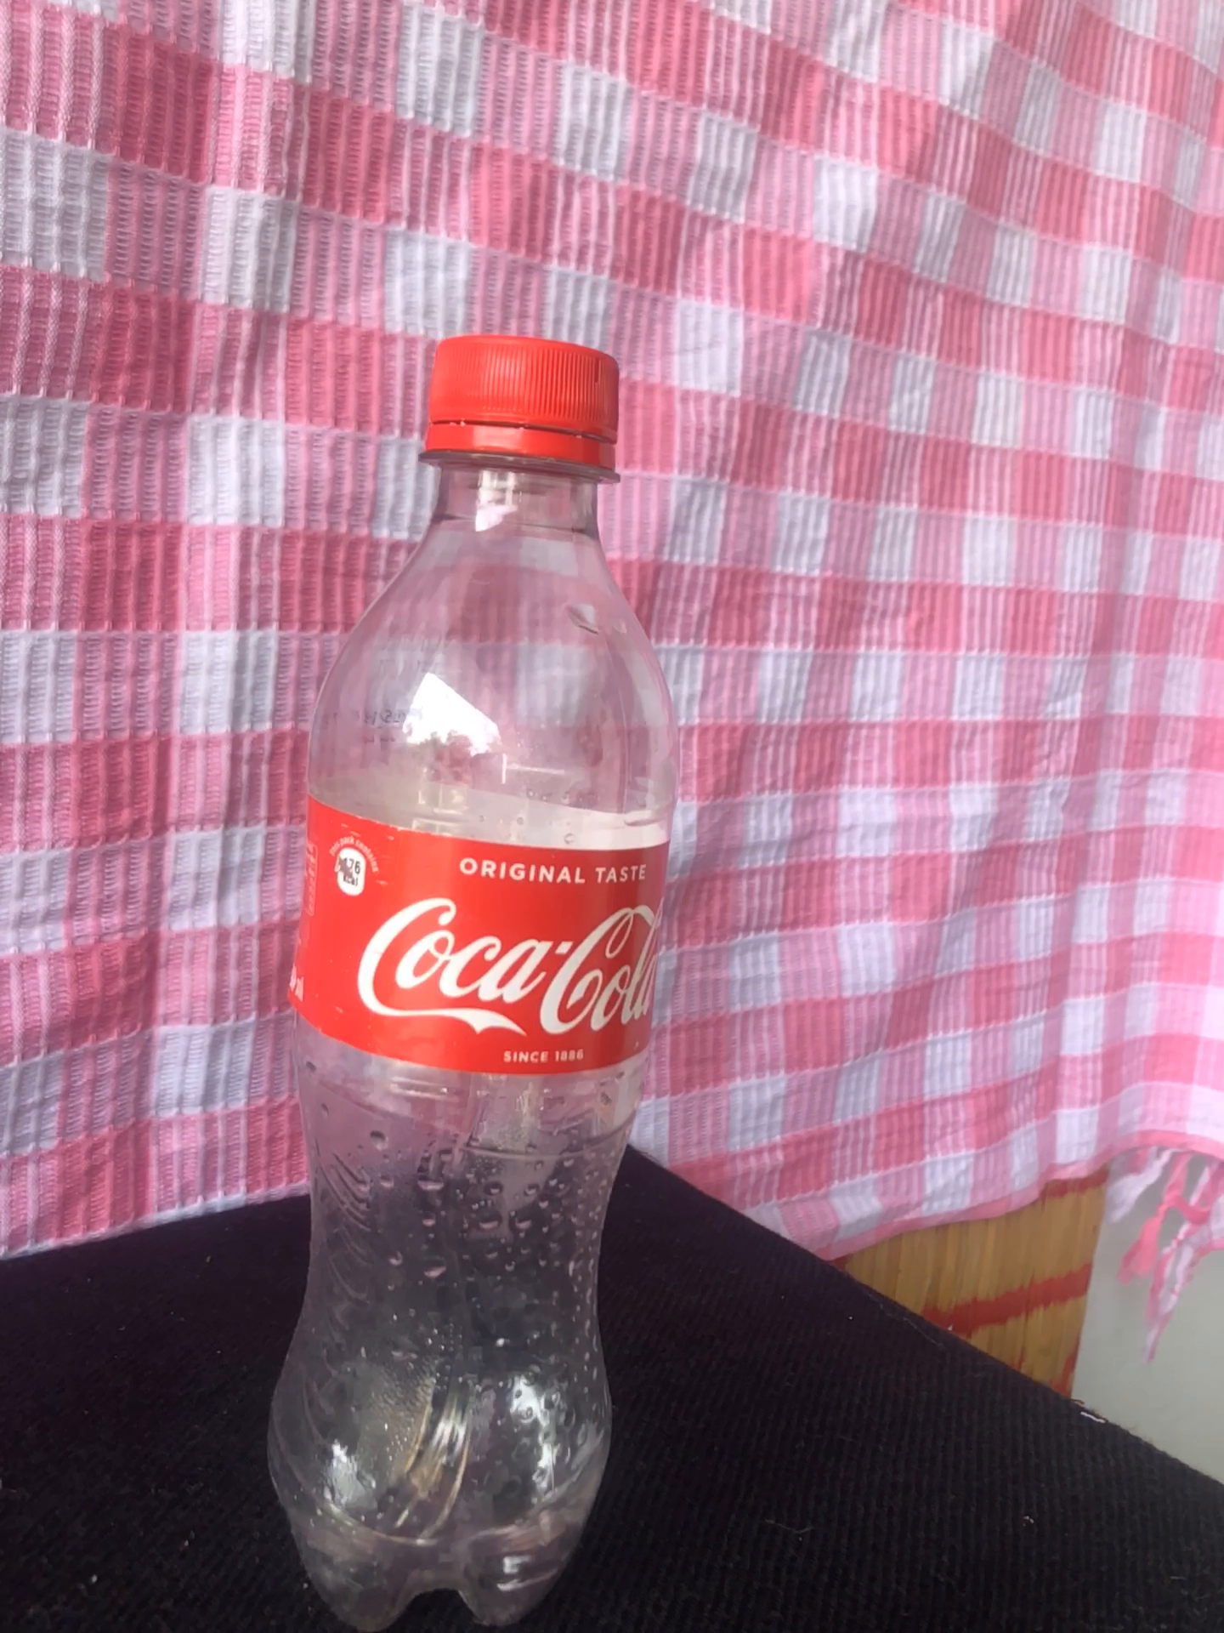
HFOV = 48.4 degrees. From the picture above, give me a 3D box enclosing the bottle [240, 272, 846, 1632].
[{"bbox_3d":[-0.018,0.024,0.215,0.060,0.190,0.060,8,10,-1],"label":"bottle"}]
